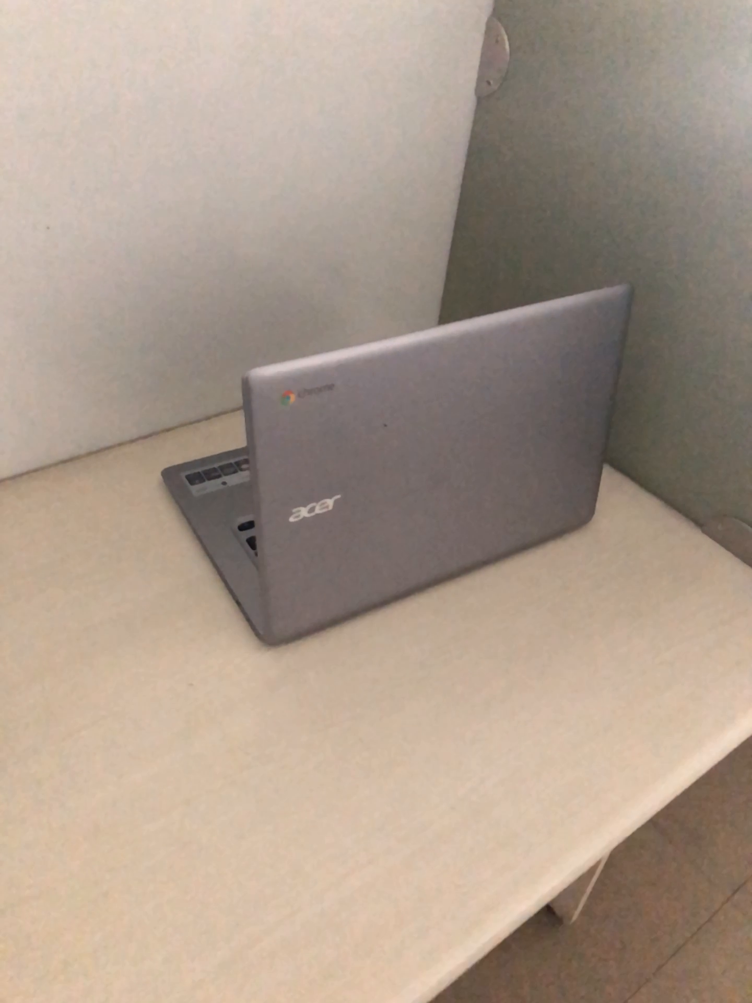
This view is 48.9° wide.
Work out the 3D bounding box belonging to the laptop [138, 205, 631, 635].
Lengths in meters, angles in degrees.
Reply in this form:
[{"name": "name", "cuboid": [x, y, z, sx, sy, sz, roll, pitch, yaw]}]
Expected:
[{"name": "laptop", "cuboid": [0.001, -0.092, 0.696, 0.321, 0.218, 0.222, -17, 43, -30]}]
